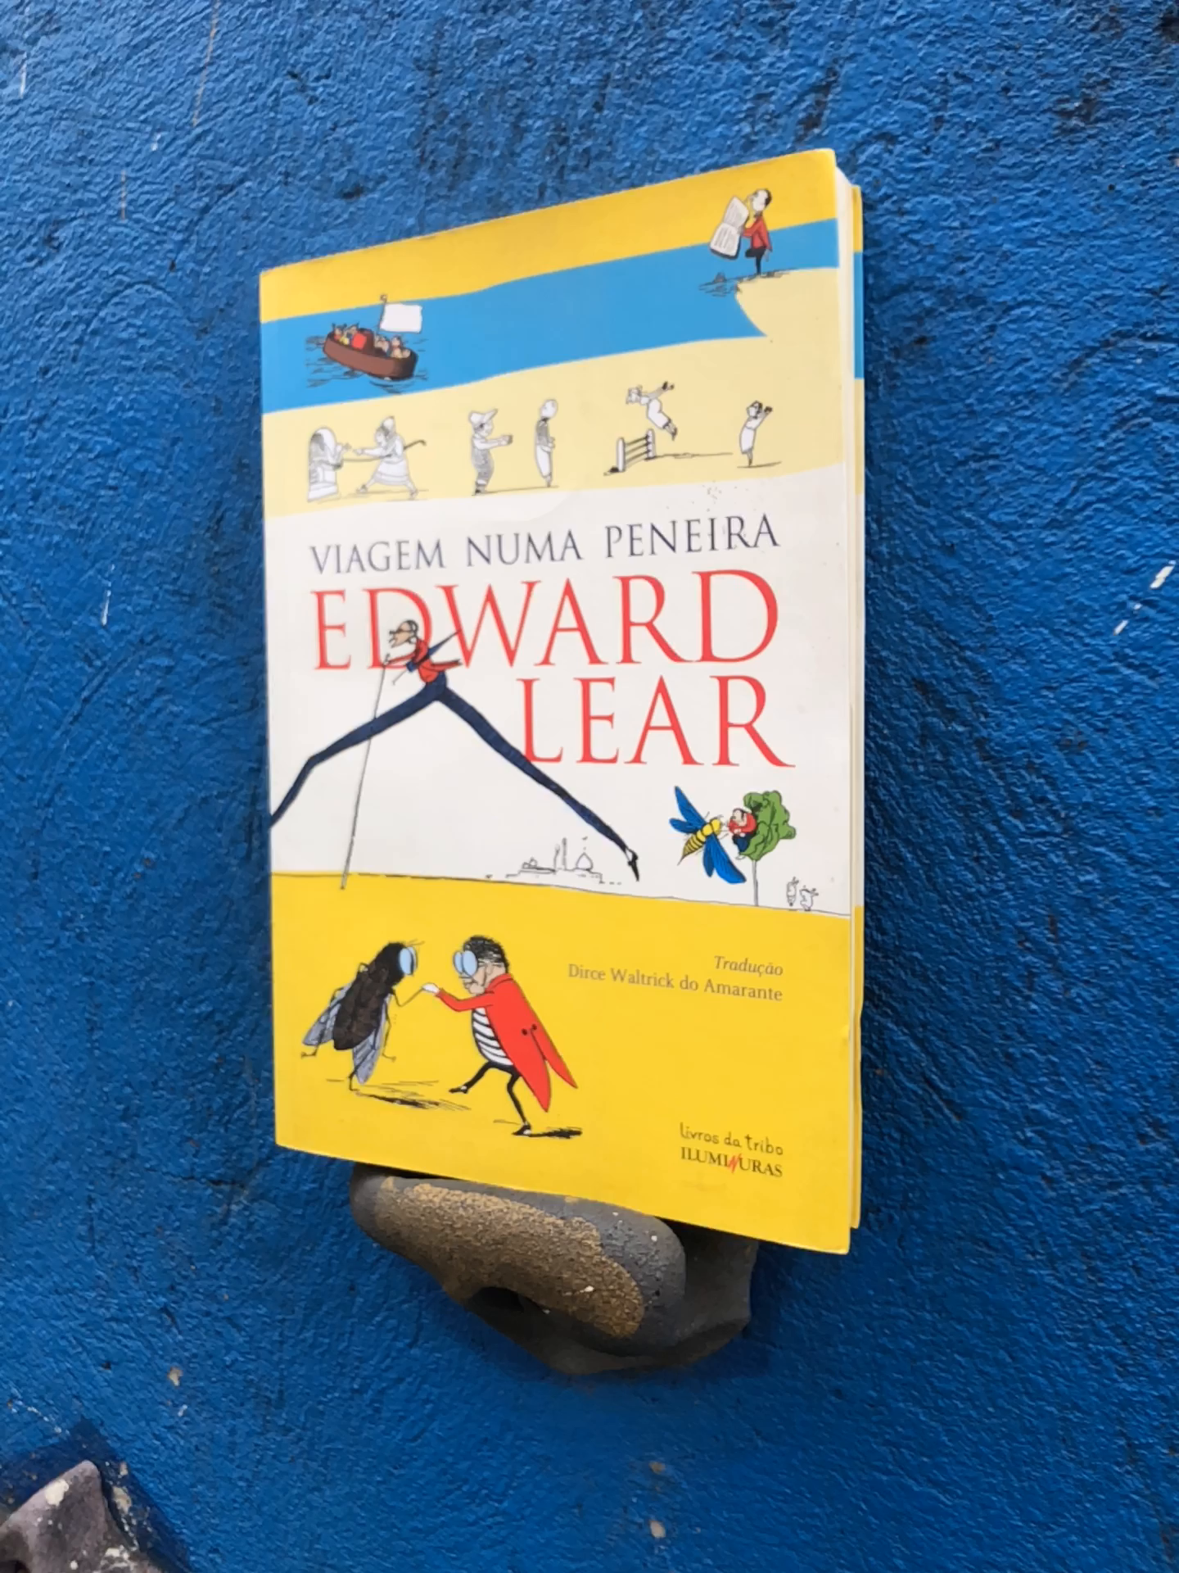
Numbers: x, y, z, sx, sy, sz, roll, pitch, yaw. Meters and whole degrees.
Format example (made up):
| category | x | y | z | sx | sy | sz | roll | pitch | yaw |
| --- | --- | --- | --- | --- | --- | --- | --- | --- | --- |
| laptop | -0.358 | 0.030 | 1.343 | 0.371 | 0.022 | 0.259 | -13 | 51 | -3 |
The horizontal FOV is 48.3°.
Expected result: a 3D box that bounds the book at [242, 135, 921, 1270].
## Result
| category | x | y | z | sx | sy | sz | roll | pitch | yaw |
| --- | --- | --- | --- | --- | --- | --- | --- | --- | --- |
| book | -0.007 | -0.016 | 0.299 | 0.158 | 0.220 | 0.021 | 1 | 5 | 26 |
